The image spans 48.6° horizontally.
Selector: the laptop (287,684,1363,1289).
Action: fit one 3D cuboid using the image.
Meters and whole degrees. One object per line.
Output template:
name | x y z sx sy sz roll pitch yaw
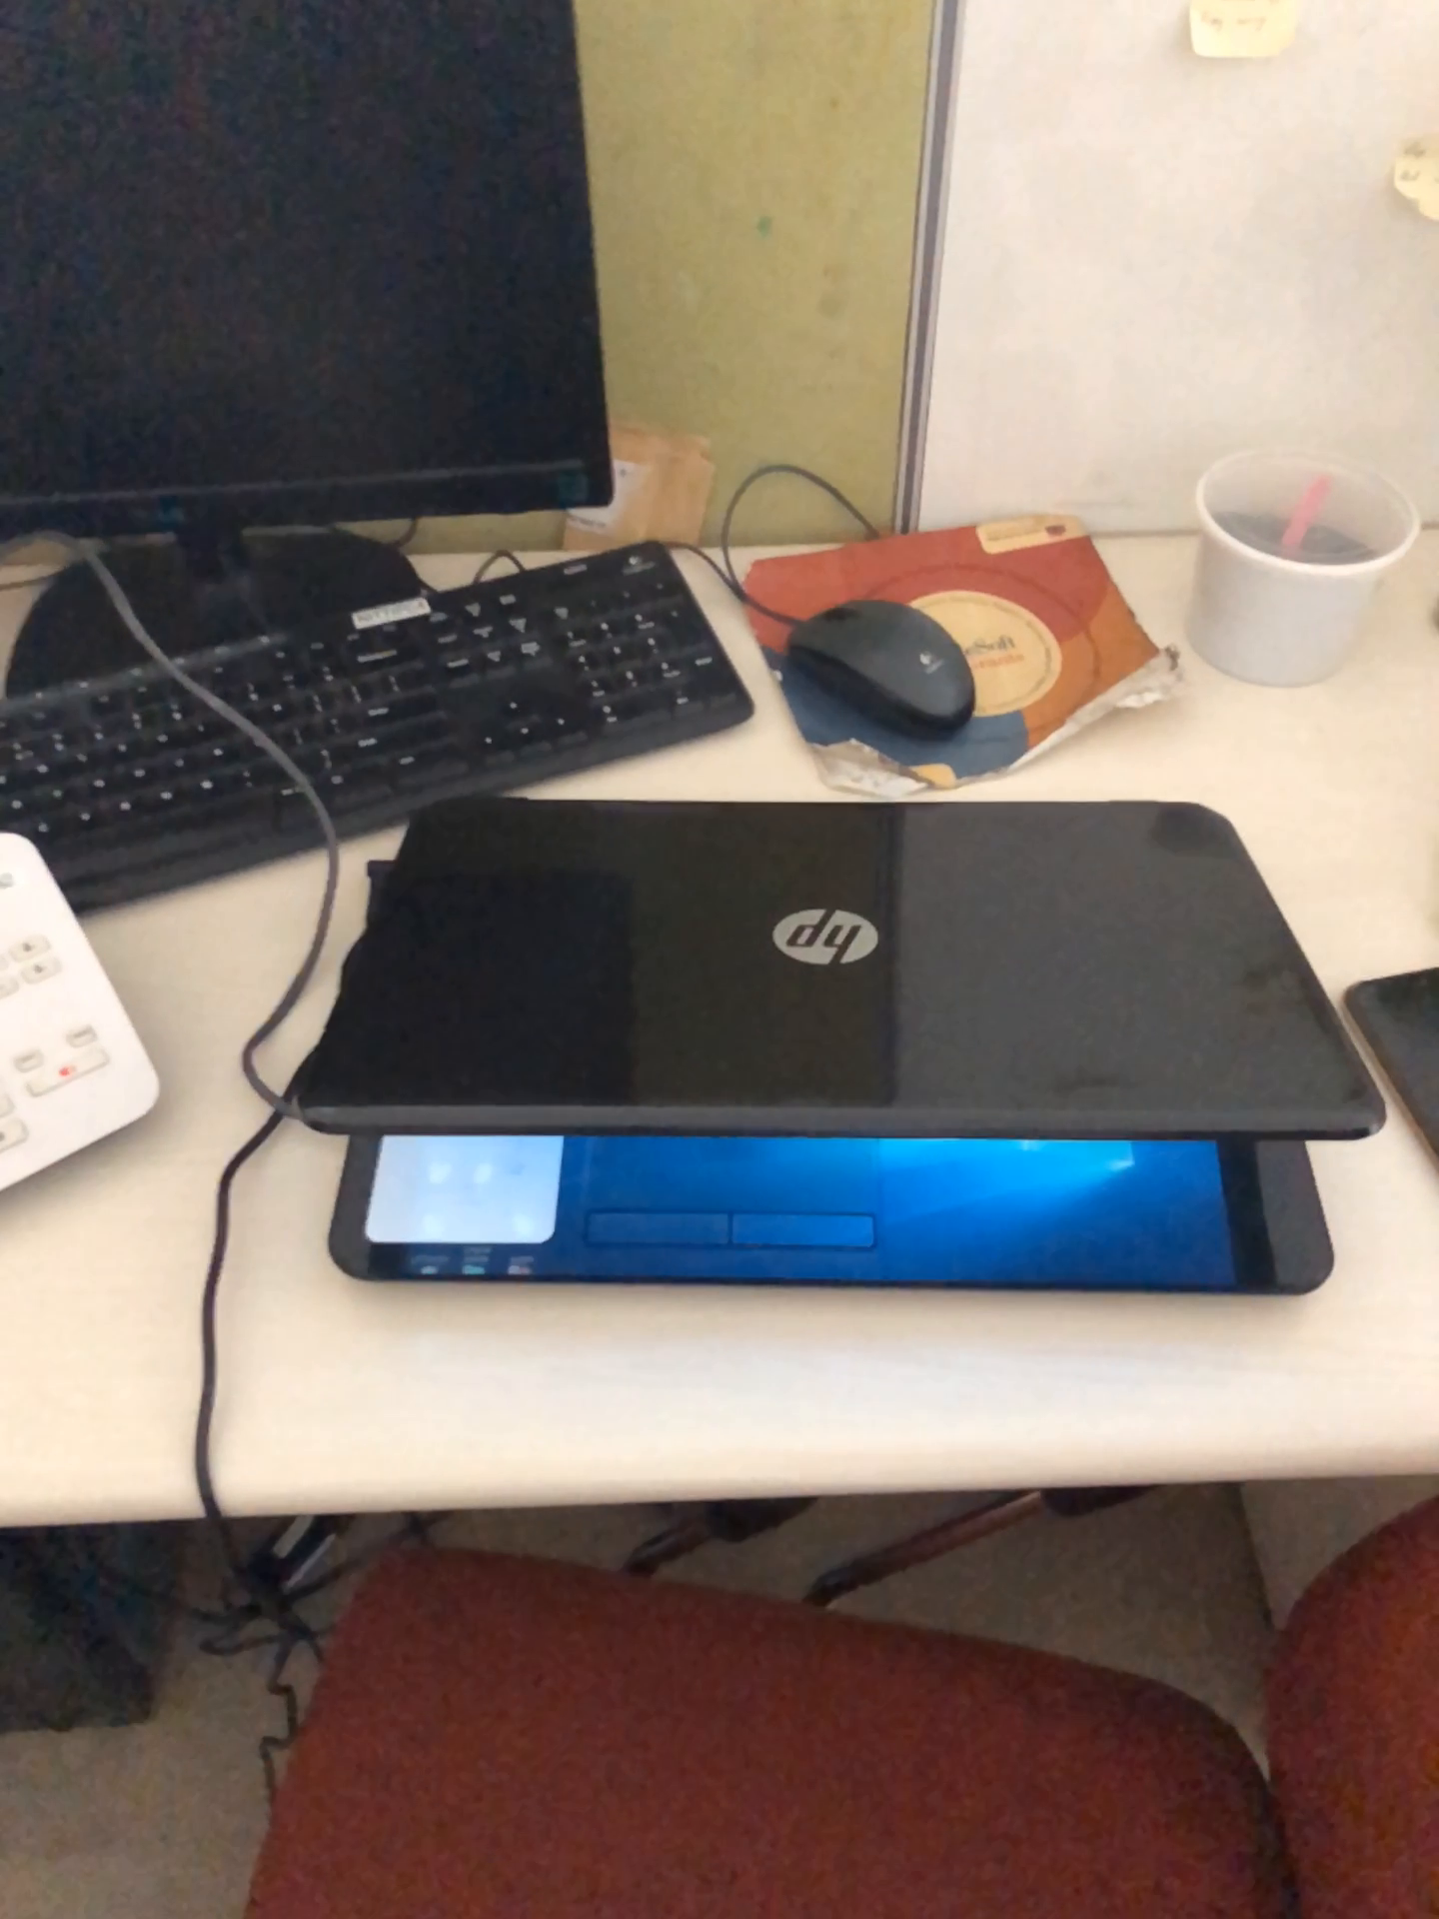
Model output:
laptop | 0.039 0.000 0.626 0.350 0.072 0.247 1 49 1
